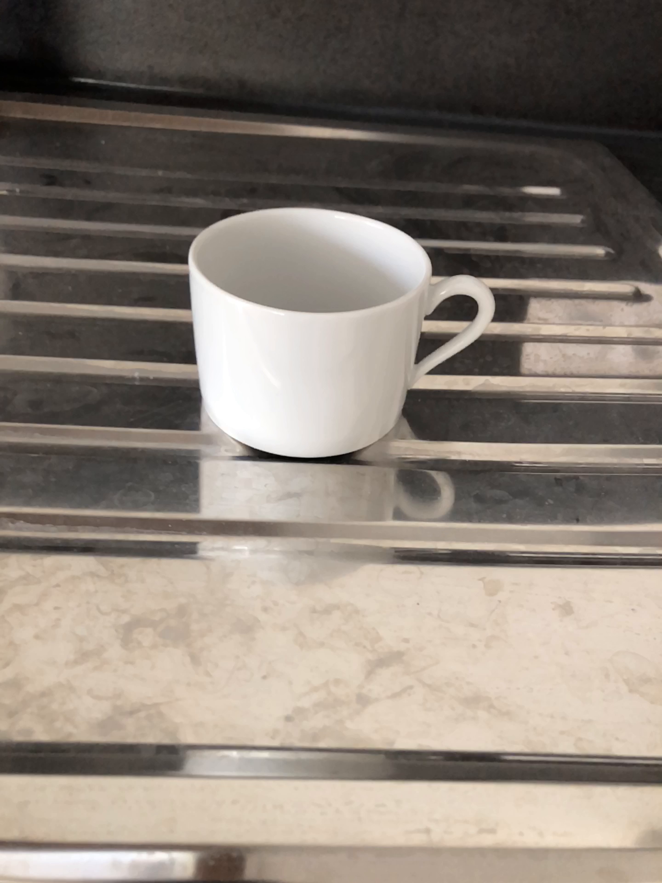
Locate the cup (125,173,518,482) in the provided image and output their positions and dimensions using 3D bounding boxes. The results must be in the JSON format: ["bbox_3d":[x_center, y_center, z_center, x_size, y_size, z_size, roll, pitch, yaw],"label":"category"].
[{"bbox_3d":[-0.001,-0.042,0.253,0.110,0.060,0.081,8,38,2],"label":"cup"}]
